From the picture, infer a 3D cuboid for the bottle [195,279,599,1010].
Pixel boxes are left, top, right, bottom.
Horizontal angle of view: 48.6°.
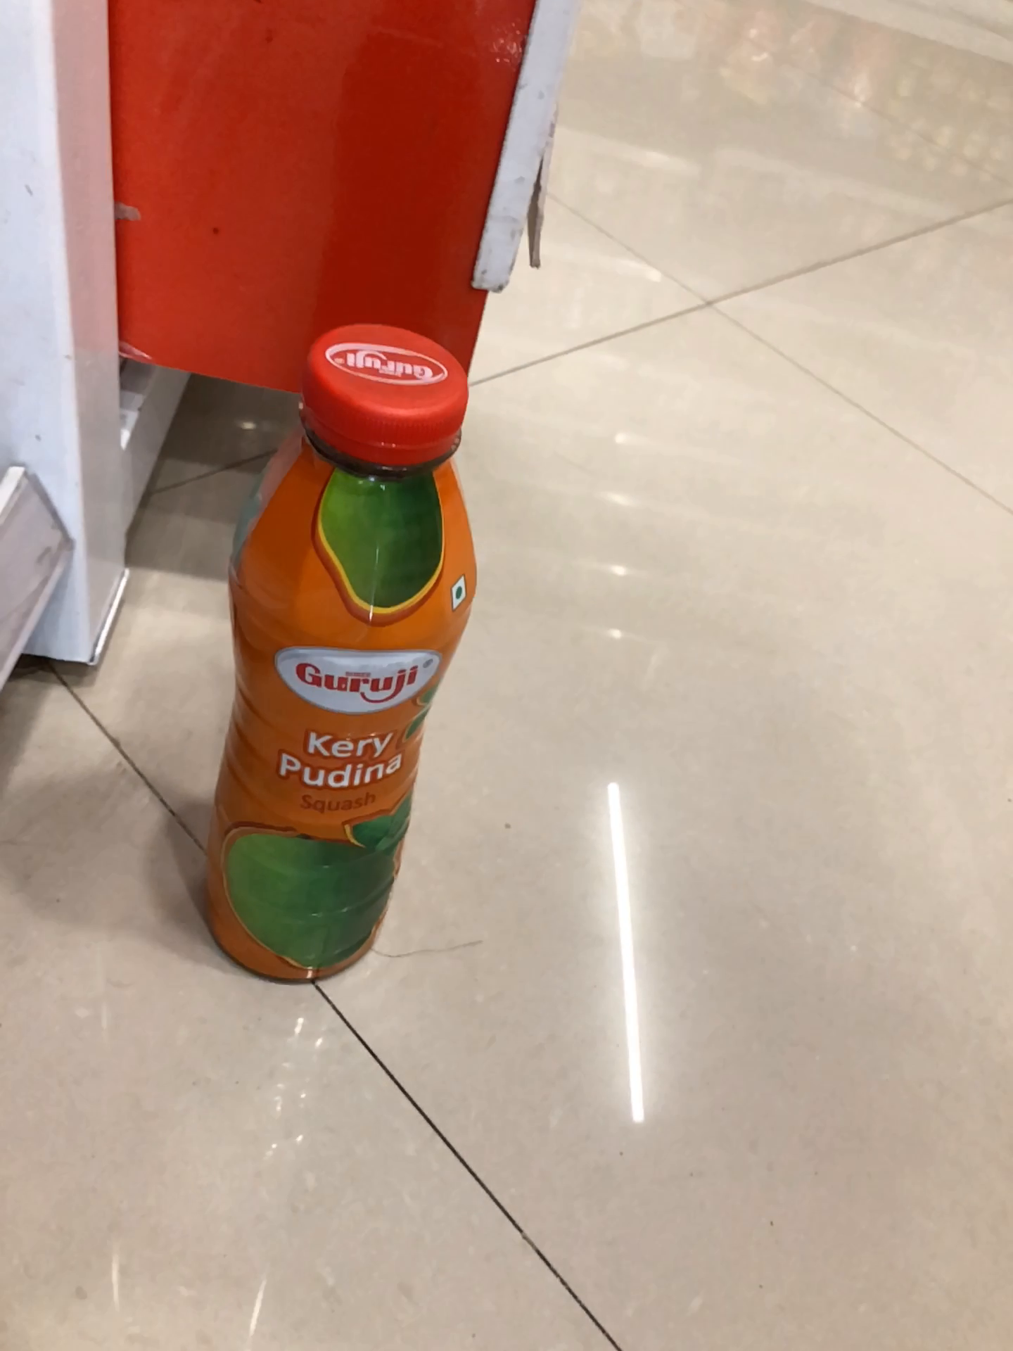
[{"bbox_3d":[-0.052,0.009,0.354,0.080,0.238,0.080,9,46,-9],"label":"bottle"}]
